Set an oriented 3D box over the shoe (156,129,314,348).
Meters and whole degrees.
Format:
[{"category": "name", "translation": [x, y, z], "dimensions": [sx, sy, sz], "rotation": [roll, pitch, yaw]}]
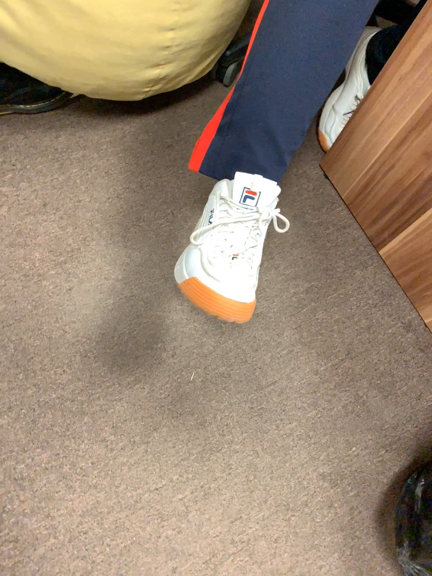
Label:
[{"category": "shoe", "translation": [0.024, -0.070, 0.560], "dimensions": [0.130, 0.130, 0.230], "rotation": [19, 43, -12]}]
